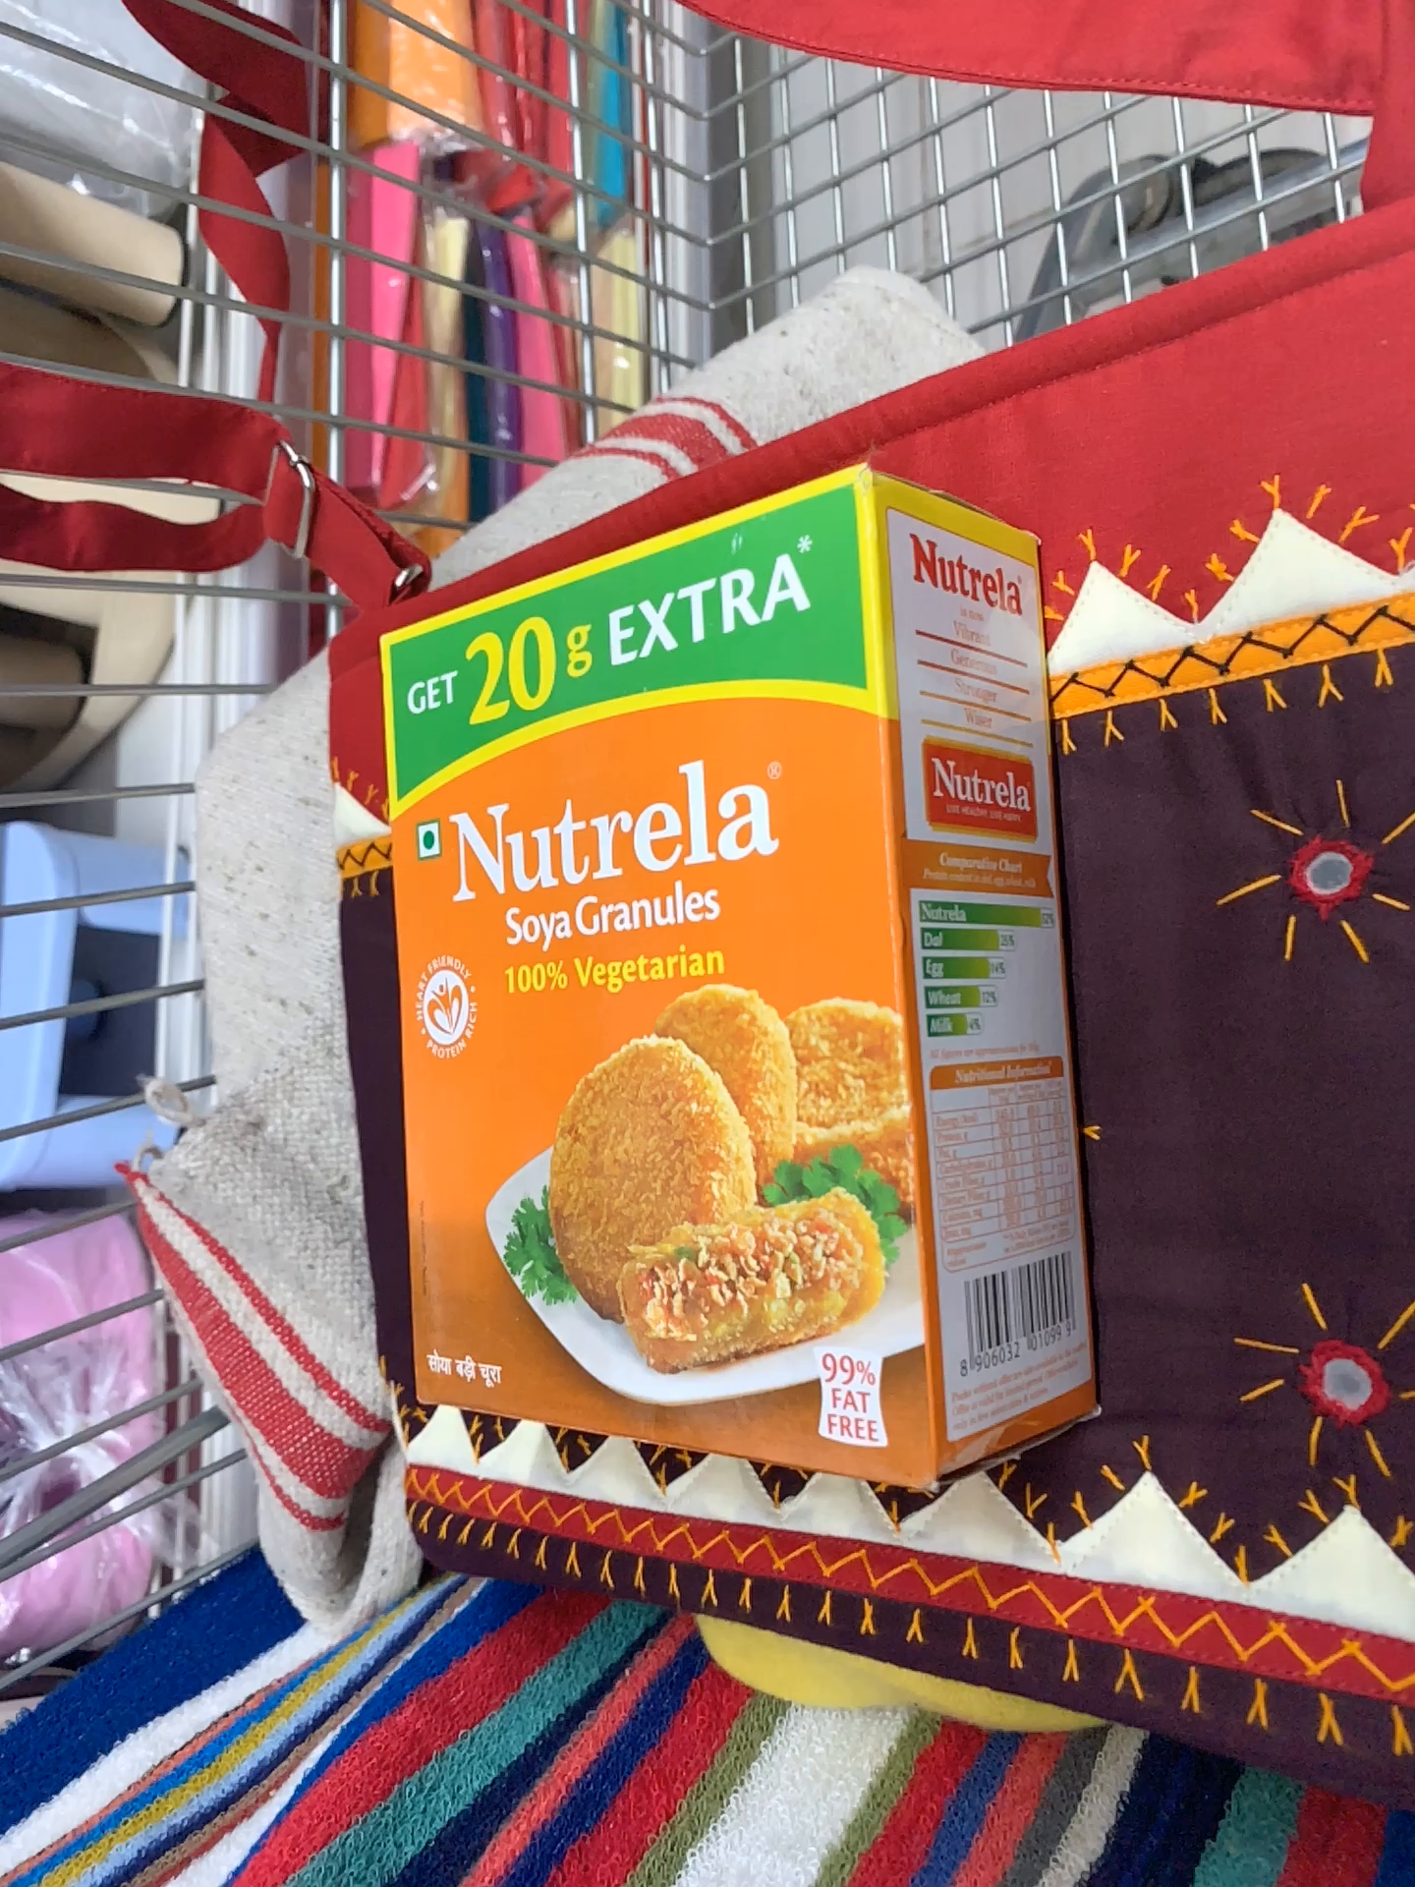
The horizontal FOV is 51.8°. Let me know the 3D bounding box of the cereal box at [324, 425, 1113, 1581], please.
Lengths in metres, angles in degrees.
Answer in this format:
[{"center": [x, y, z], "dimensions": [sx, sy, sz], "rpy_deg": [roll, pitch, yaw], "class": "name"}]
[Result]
[{"center": [-0.005, 0.012, 0.250], "dimensions": [0.121, 0.060, 0.150], "rpy_deg": [-7, 83, 41], "class": "cereal box"}]
